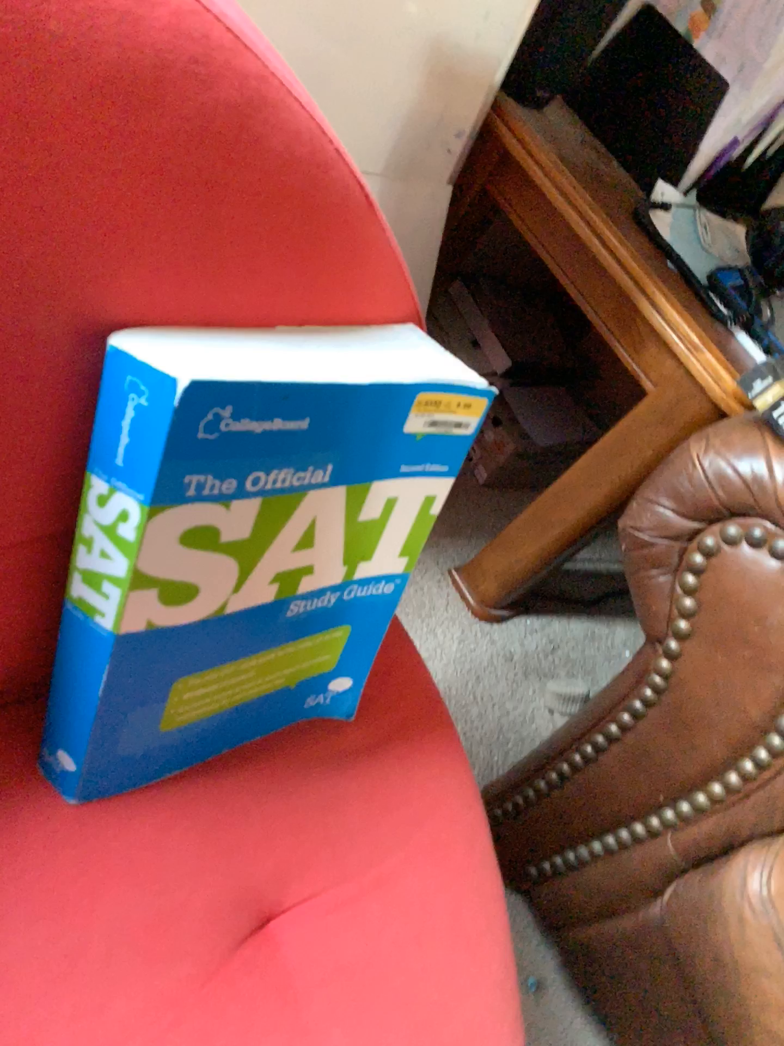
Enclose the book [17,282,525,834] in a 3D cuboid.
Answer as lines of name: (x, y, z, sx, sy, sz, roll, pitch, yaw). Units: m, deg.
book: (-0.070, 0.015, 0.453, 0.231, 0.259, 0.080, -9, 36, -42)
